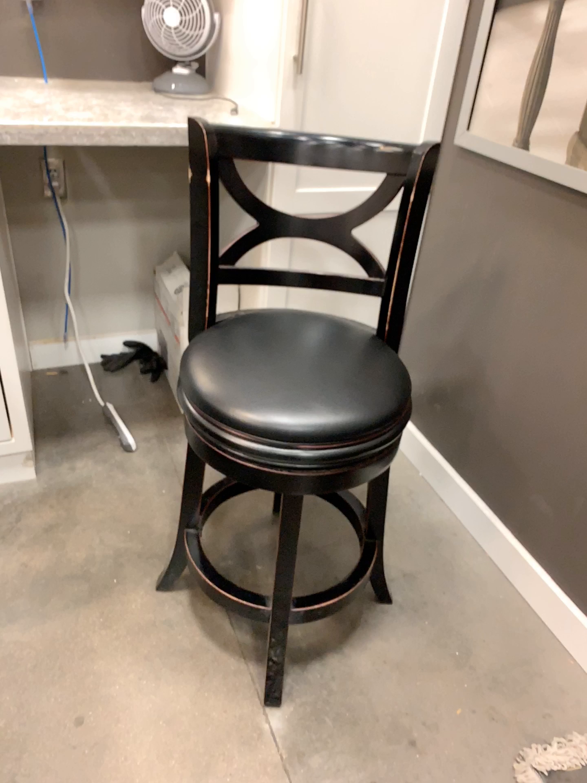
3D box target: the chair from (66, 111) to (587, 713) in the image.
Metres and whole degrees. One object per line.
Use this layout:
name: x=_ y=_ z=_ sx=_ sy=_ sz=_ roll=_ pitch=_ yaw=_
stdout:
chair: x=-0.004 y=0.043 z=1.134 sx=0.557 sy=0.911 sz=0.608 roll=4 pitch=32 yaw=-4
